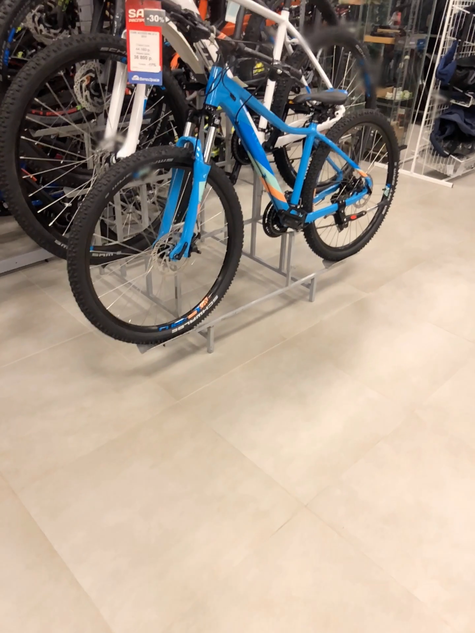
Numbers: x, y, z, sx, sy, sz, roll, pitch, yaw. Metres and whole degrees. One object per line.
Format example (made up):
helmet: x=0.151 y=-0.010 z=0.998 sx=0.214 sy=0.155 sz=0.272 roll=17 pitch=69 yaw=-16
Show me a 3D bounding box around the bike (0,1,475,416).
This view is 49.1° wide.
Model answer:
bike: x=0.063 y=-0.570 z=2.007 sx=1.707 sy=1.082 sz=0.632 roll=-26 pitch=42 yaw=-37
